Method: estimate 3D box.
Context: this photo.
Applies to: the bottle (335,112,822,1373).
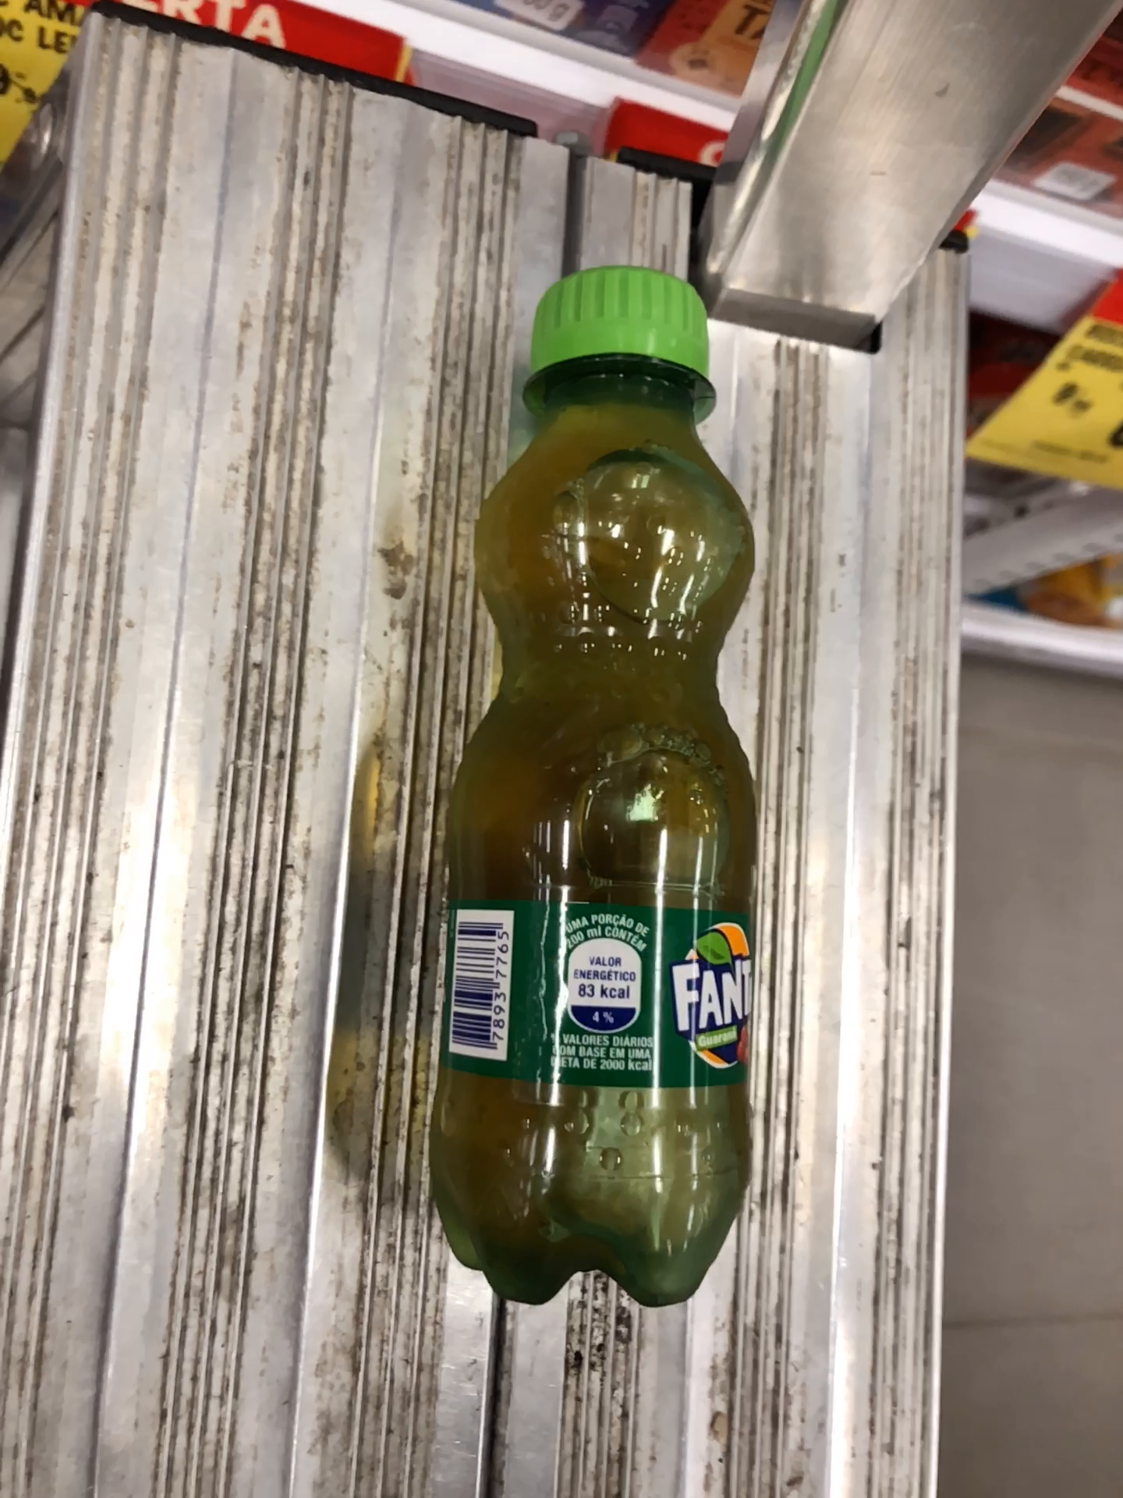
[{"bbox_3d":[0.008,-0.003,0.200,0.050,0.050,0.170,0,80,26],"label":"bottle"}]
